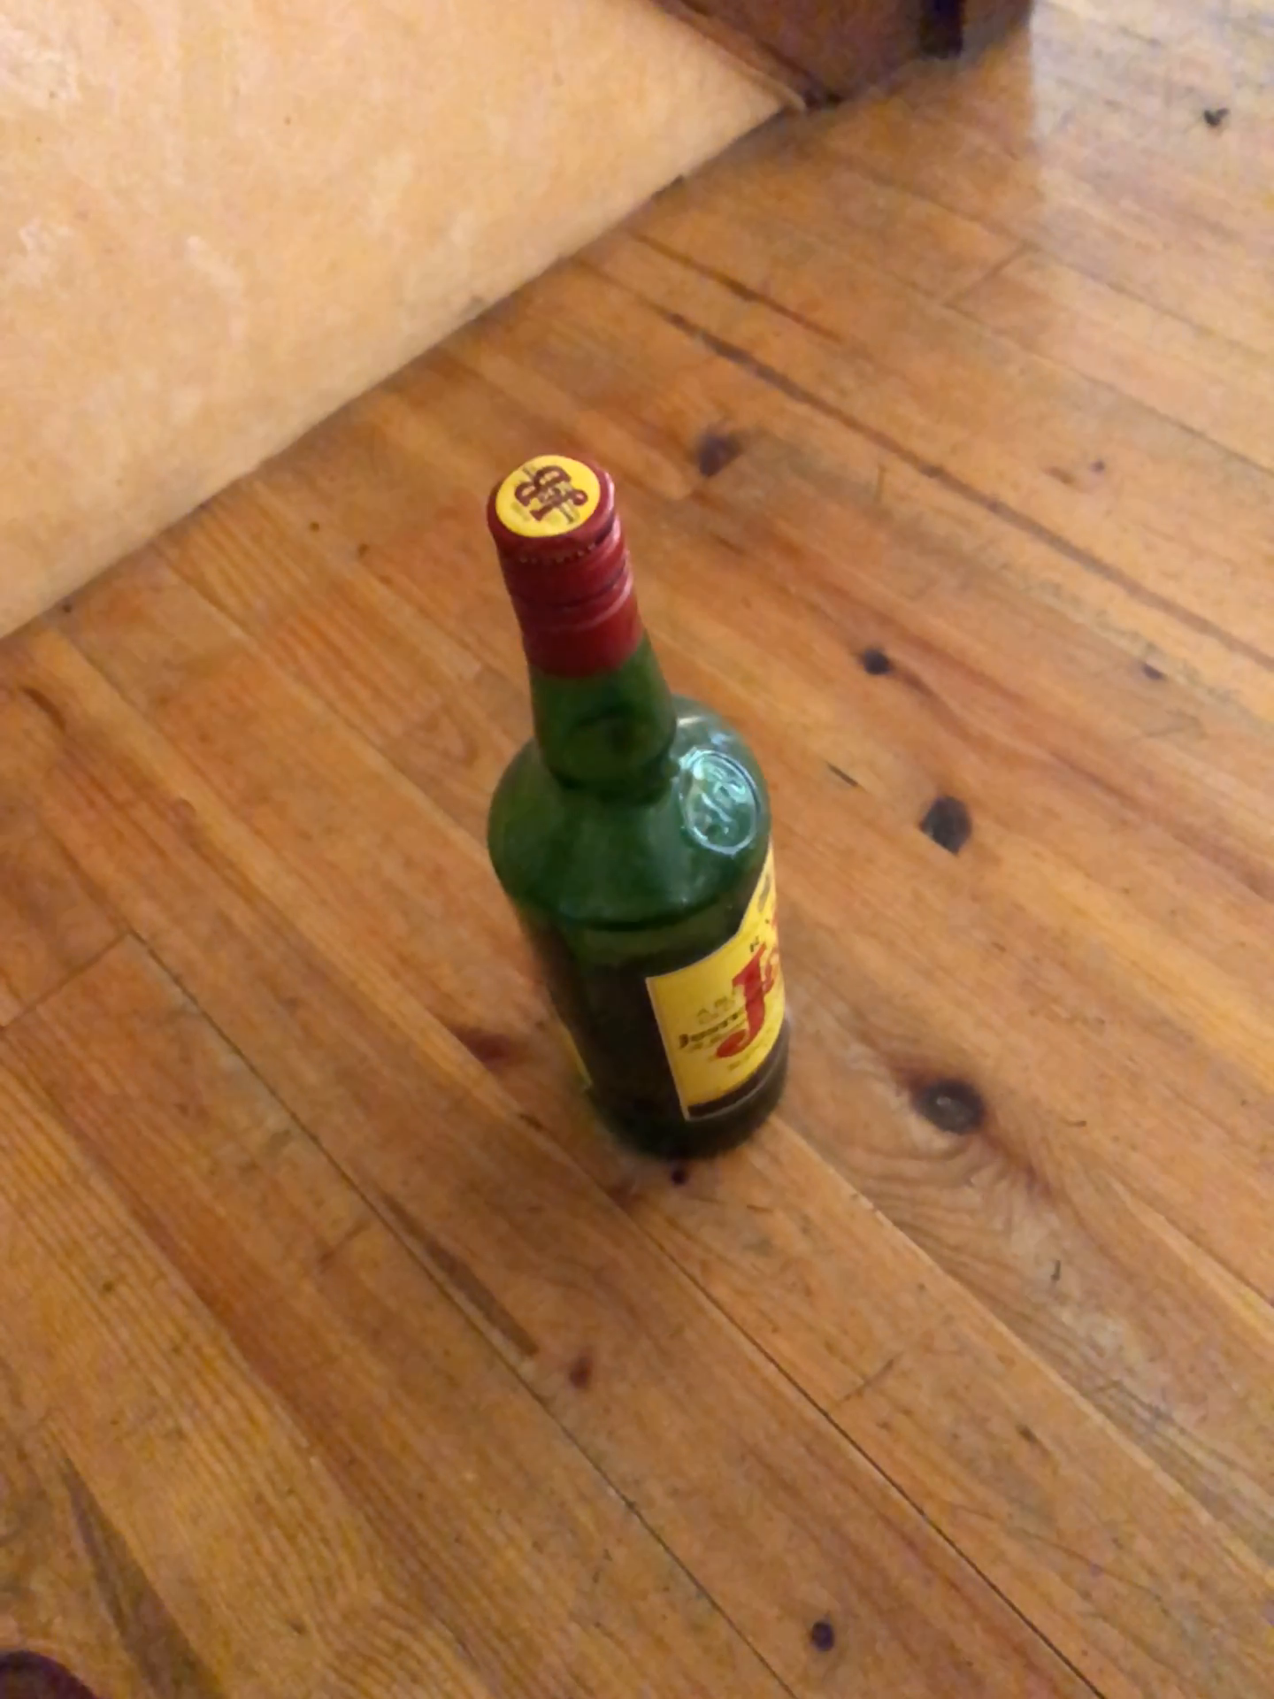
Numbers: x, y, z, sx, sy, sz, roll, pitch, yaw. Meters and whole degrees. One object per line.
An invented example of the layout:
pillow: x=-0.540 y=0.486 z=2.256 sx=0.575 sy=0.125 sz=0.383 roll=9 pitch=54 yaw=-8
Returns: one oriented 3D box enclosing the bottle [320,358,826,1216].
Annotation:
bottle: x=0.006 y=0.012 z=0.440 sx=0.080 sy=0.319 sz=0.090 roll=16 pitch=63 yaw=17
